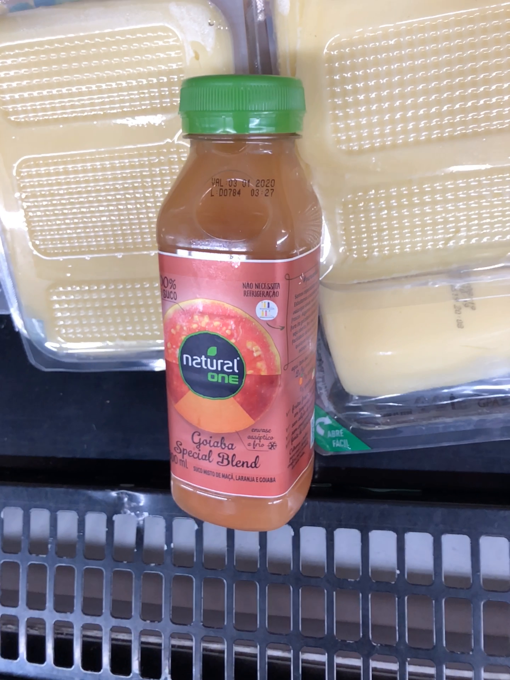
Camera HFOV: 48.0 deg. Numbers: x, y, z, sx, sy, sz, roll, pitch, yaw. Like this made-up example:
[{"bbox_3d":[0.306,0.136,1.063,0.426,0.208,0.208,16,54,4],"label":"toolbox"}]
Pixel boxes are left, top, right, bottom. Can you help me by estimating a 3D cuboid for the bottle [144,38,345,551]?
[{"bbox_3d":[-0.002,-0.017,0.238,0.060,0.070,0.180,5,105,13],"label":"bottle"}]
